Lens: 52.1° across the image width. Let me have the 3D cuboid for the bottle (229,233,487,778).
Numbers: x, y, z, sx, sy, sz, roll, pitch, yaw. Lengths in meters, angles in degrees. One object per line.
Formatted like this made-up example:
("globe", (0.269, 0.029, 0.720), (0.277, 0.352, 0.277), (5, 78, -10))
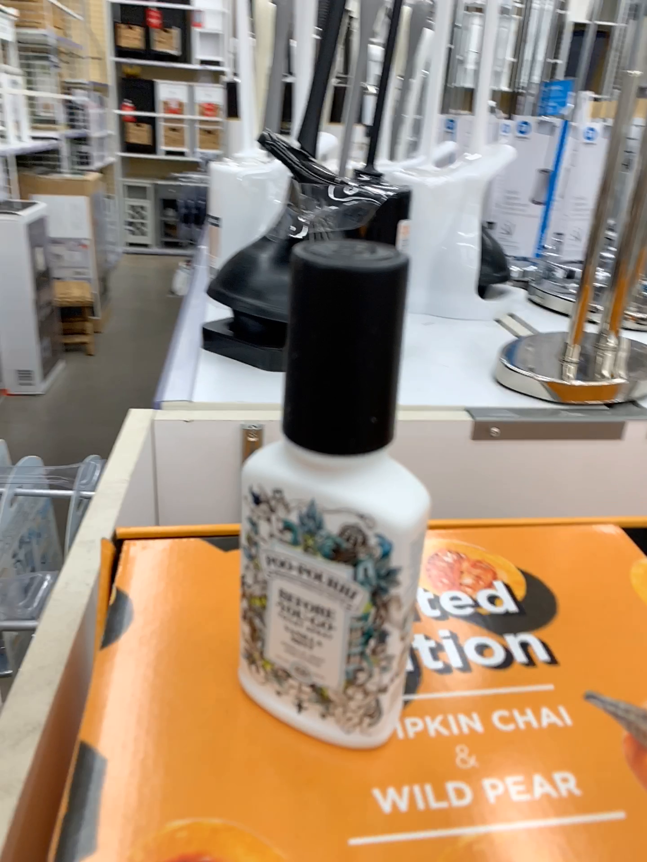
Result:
("bottle", (0.005, 0.025, 0.195), (0.055, 0.151, 0.033), (15, 27, 23))
